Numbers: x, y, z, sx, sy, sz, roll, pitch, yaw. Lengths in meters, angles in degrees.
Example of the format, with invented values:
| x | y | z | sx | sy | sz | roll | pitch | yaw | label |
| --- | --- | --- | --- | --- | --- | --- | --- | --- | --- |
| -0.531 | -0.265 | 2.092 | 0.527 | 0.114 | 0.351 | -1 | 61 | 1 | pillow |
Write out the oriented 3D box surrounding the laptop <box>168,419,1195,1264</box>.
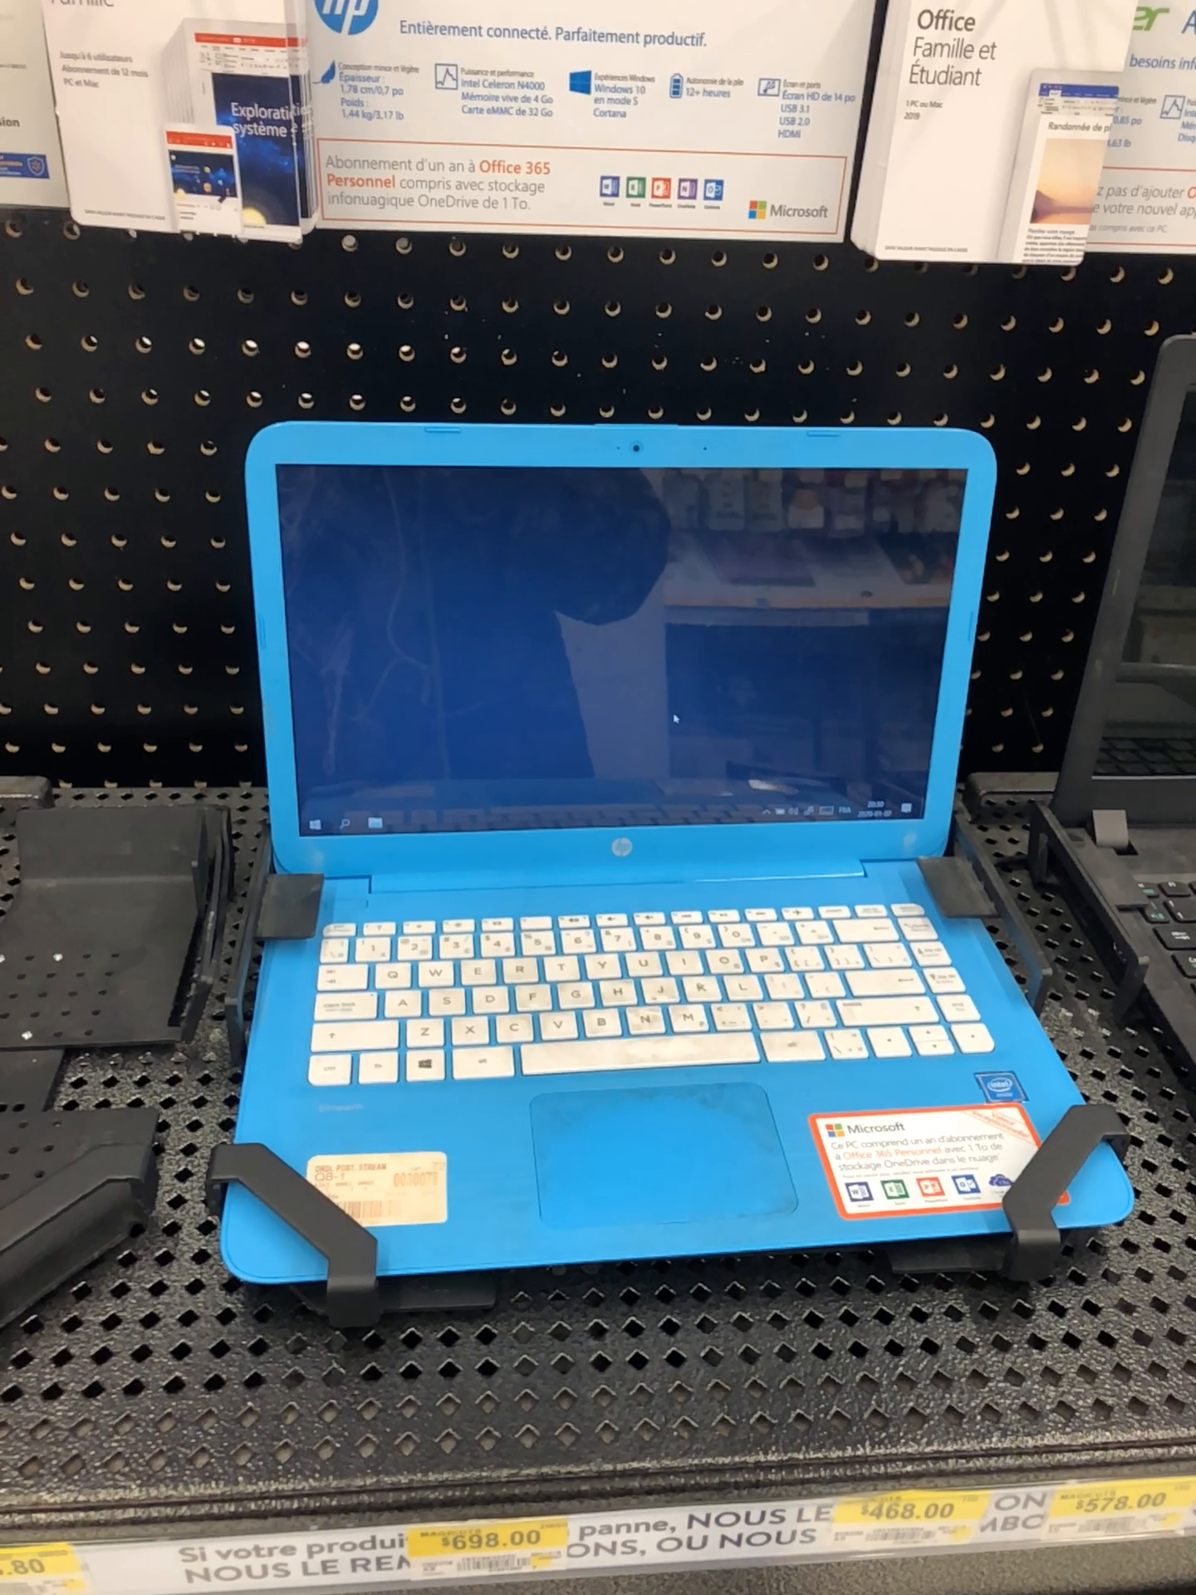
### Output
| x | y | z | sx | sy | sz | roll | pitch | yaw | label |
| --- | --- | --- | --- | --- | --- | --- | --- | --- | --- |
| 0.025 | -0.004 | 0.521 | 0.319 | 0.197 | 0.270 | -1 | 34 | -6 | laptop |
